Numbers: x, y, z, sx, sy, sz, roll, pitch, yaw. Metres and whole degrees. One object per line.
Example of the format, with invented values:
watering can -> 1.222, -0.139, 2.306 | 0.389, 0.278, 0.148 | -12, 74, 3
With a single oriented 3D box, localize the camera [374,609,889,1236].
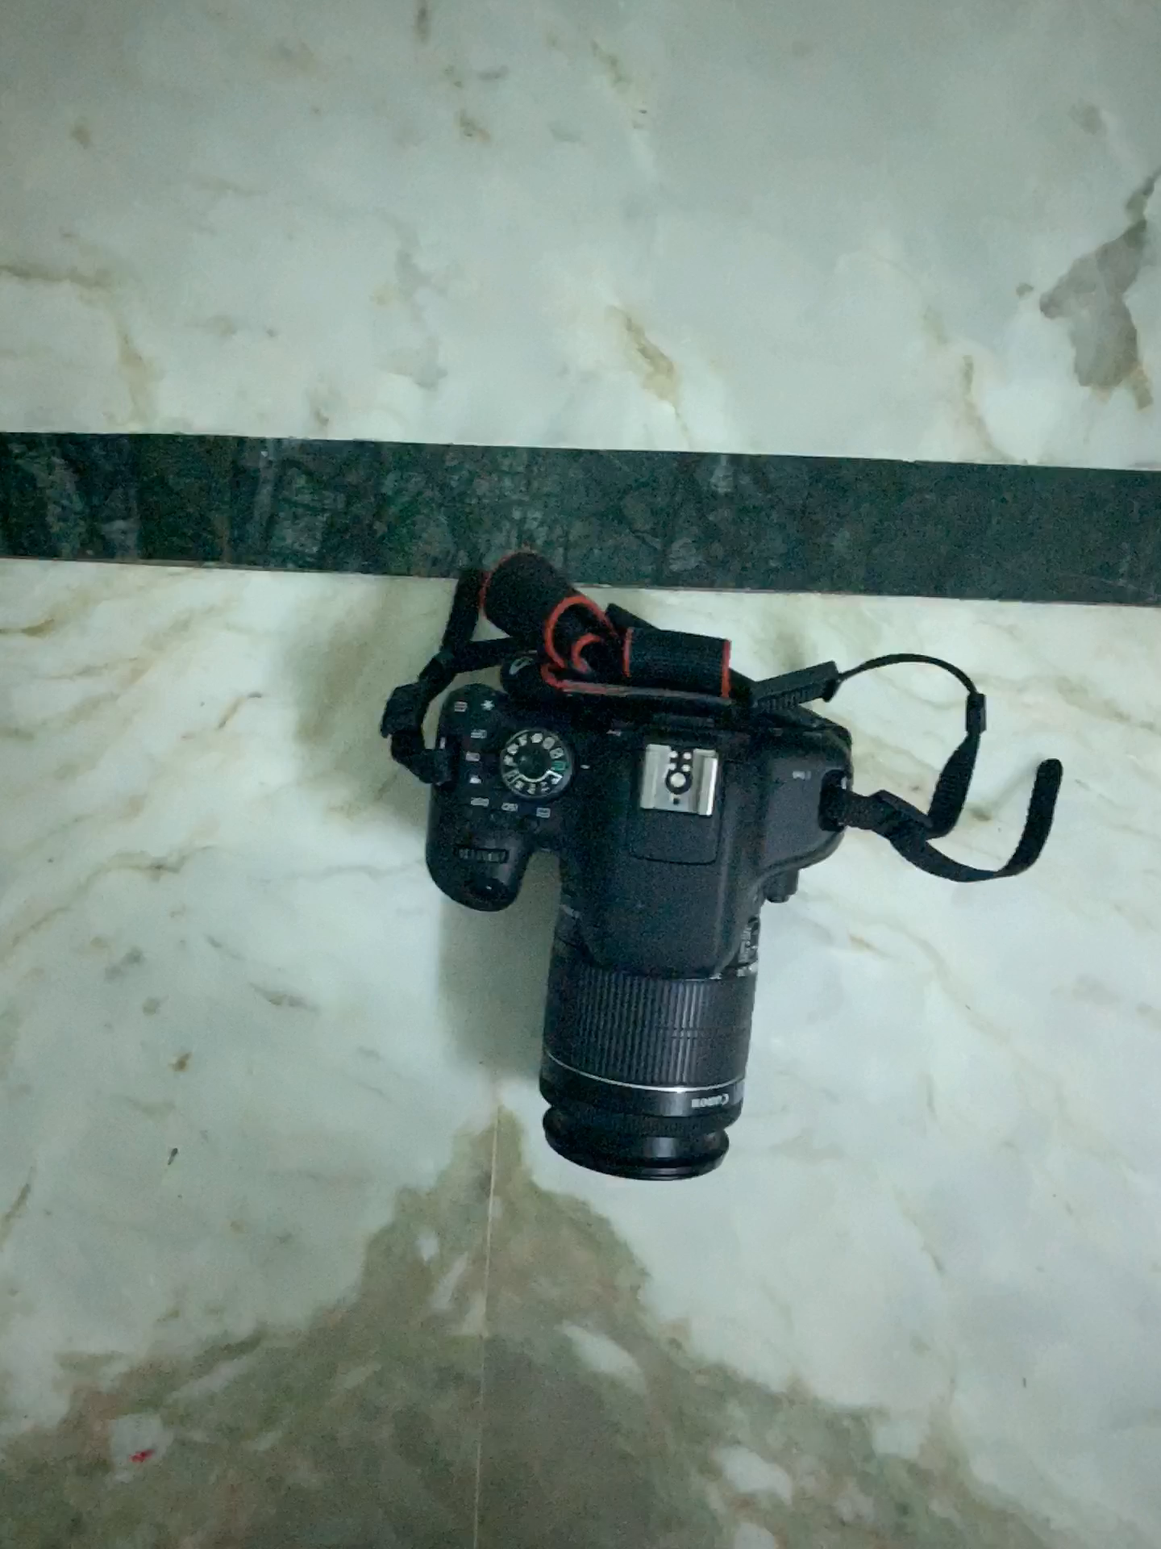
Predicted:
camera -> 0.016, 0.039, 0.374 | 0.128, 0.100, 0.160 | 5, 92, 4
